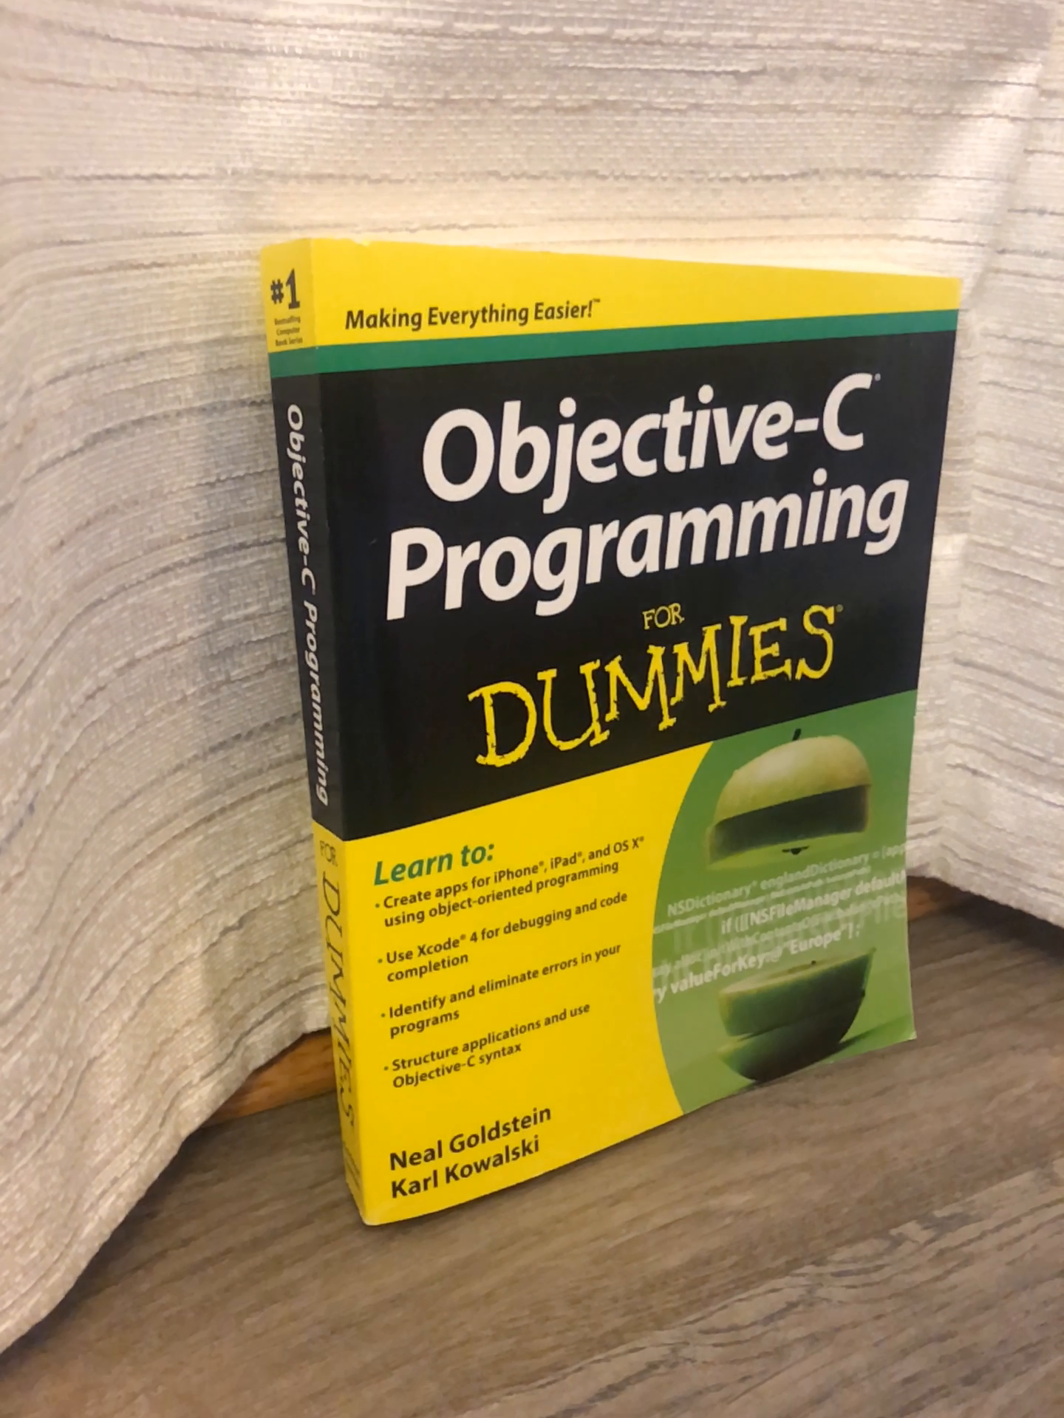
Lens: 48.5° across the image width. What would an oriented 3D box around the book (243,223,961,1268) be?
[{"bbox_3d":[0.030,0.002,0.309,0.184,0.230,0.033,-10,15,-28],"label":"book"}]
